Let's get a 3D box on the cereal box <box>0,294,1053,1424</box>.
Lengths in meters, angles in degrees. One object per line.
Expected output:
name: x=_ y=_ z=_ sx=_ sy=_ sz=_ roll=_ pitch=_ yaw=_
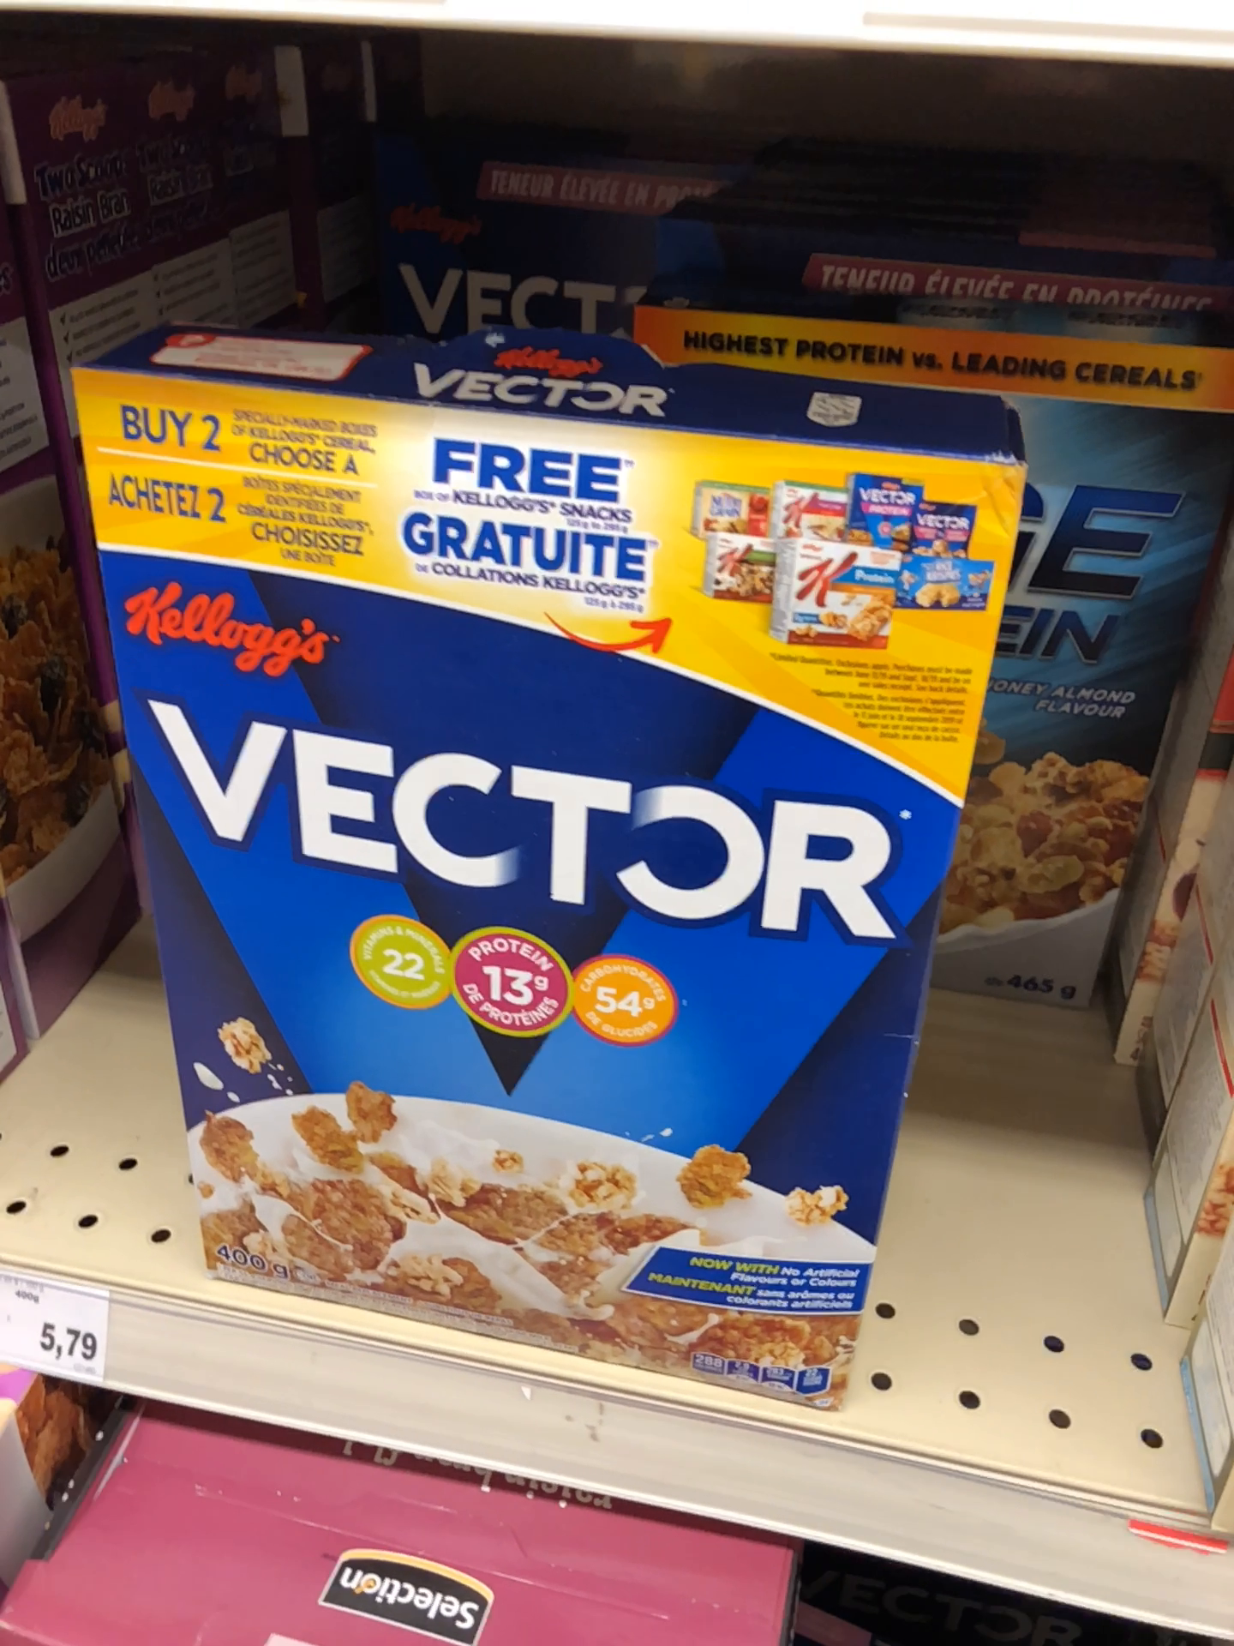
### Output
cereal box: x=-0.022 y=0.022 z=0.345 sx=0.200 sy=0.268 sz=0.060 roll=8 pitch=33 yaw=10
